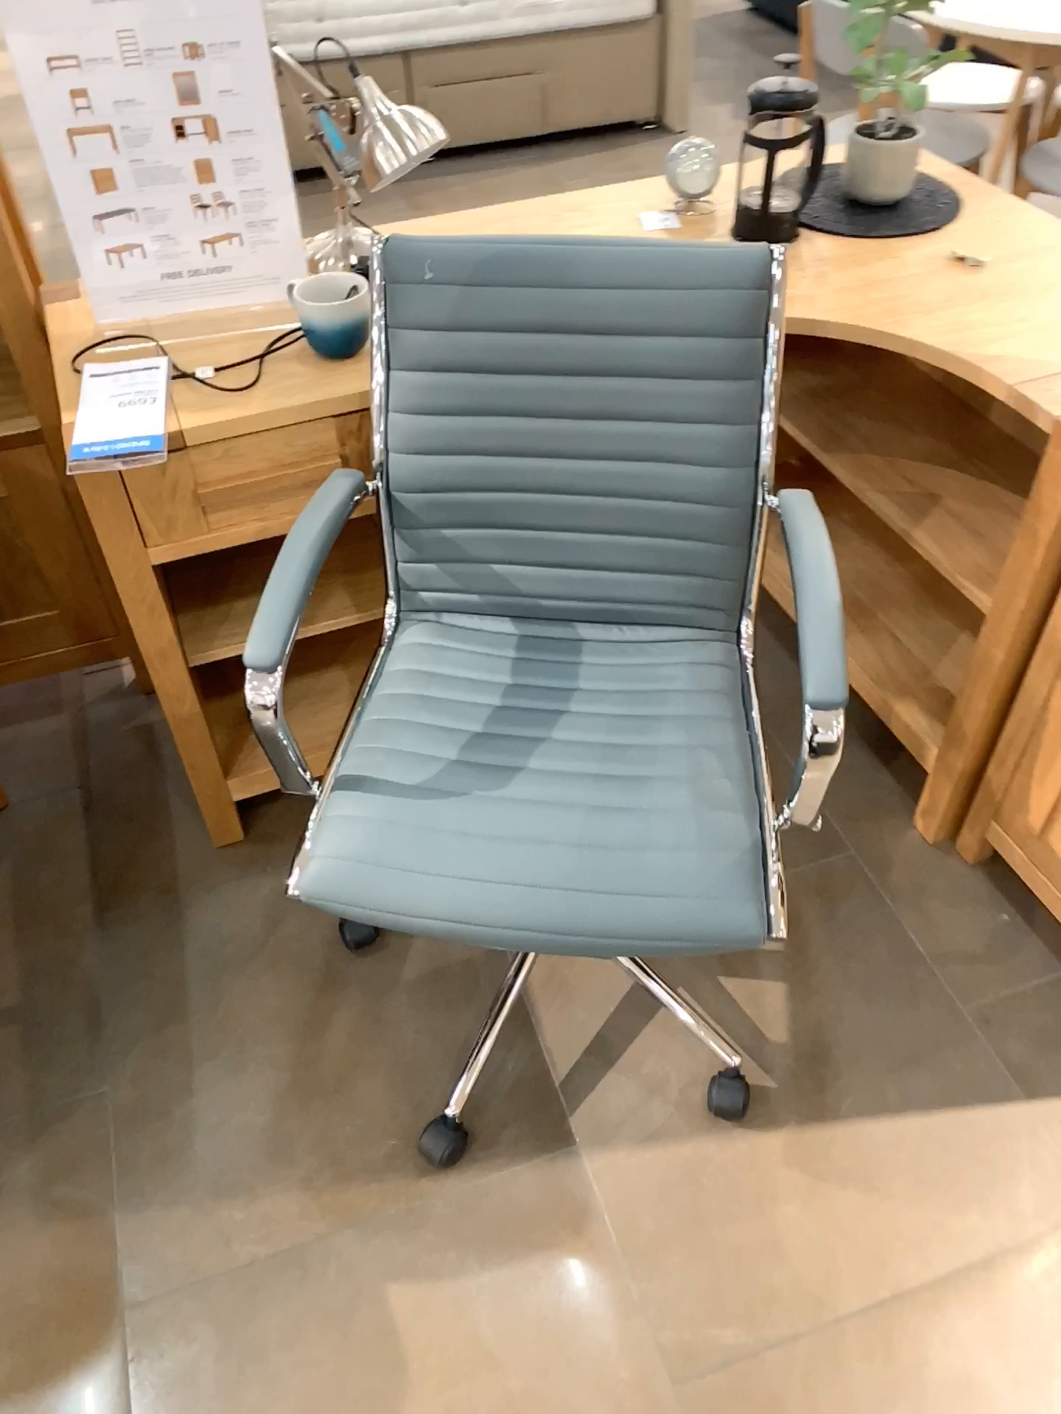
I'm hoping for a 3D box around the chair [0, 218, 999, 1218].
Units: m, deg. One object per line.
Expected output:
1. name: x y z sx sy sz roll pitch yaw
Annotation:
1. chair: 0.019 0.023 1.265 0.664 0.883 0.713 4 45 6
